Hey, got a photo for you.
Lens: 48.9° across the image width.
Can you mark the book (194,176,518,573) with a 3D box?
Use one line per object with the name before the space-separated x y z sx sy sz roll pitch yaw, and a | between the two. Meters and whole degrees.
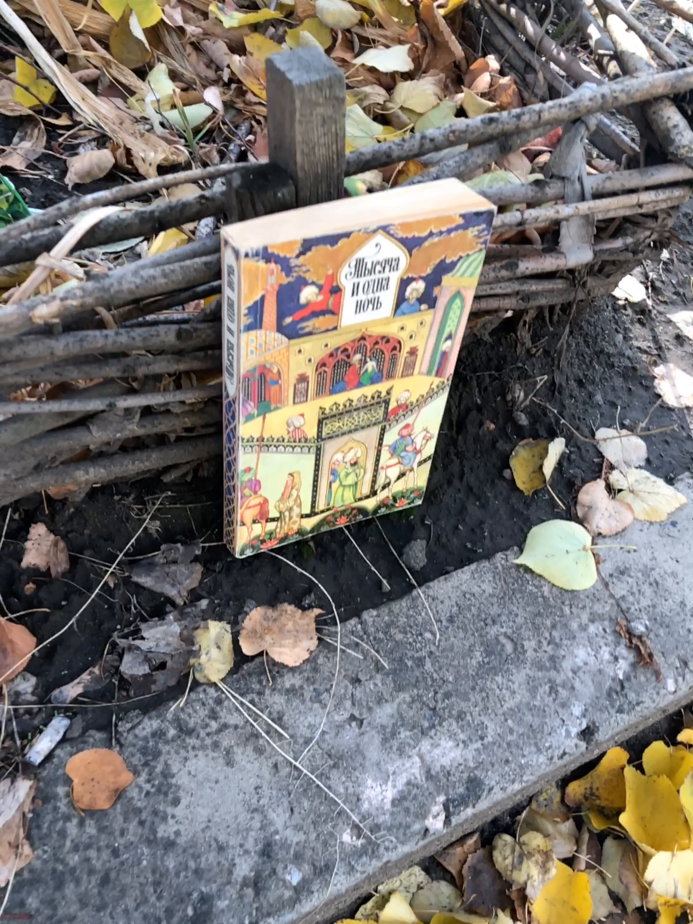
book | 0.000 -0.031 0.355 0.123 0.182 0.029 -14 48 -19
